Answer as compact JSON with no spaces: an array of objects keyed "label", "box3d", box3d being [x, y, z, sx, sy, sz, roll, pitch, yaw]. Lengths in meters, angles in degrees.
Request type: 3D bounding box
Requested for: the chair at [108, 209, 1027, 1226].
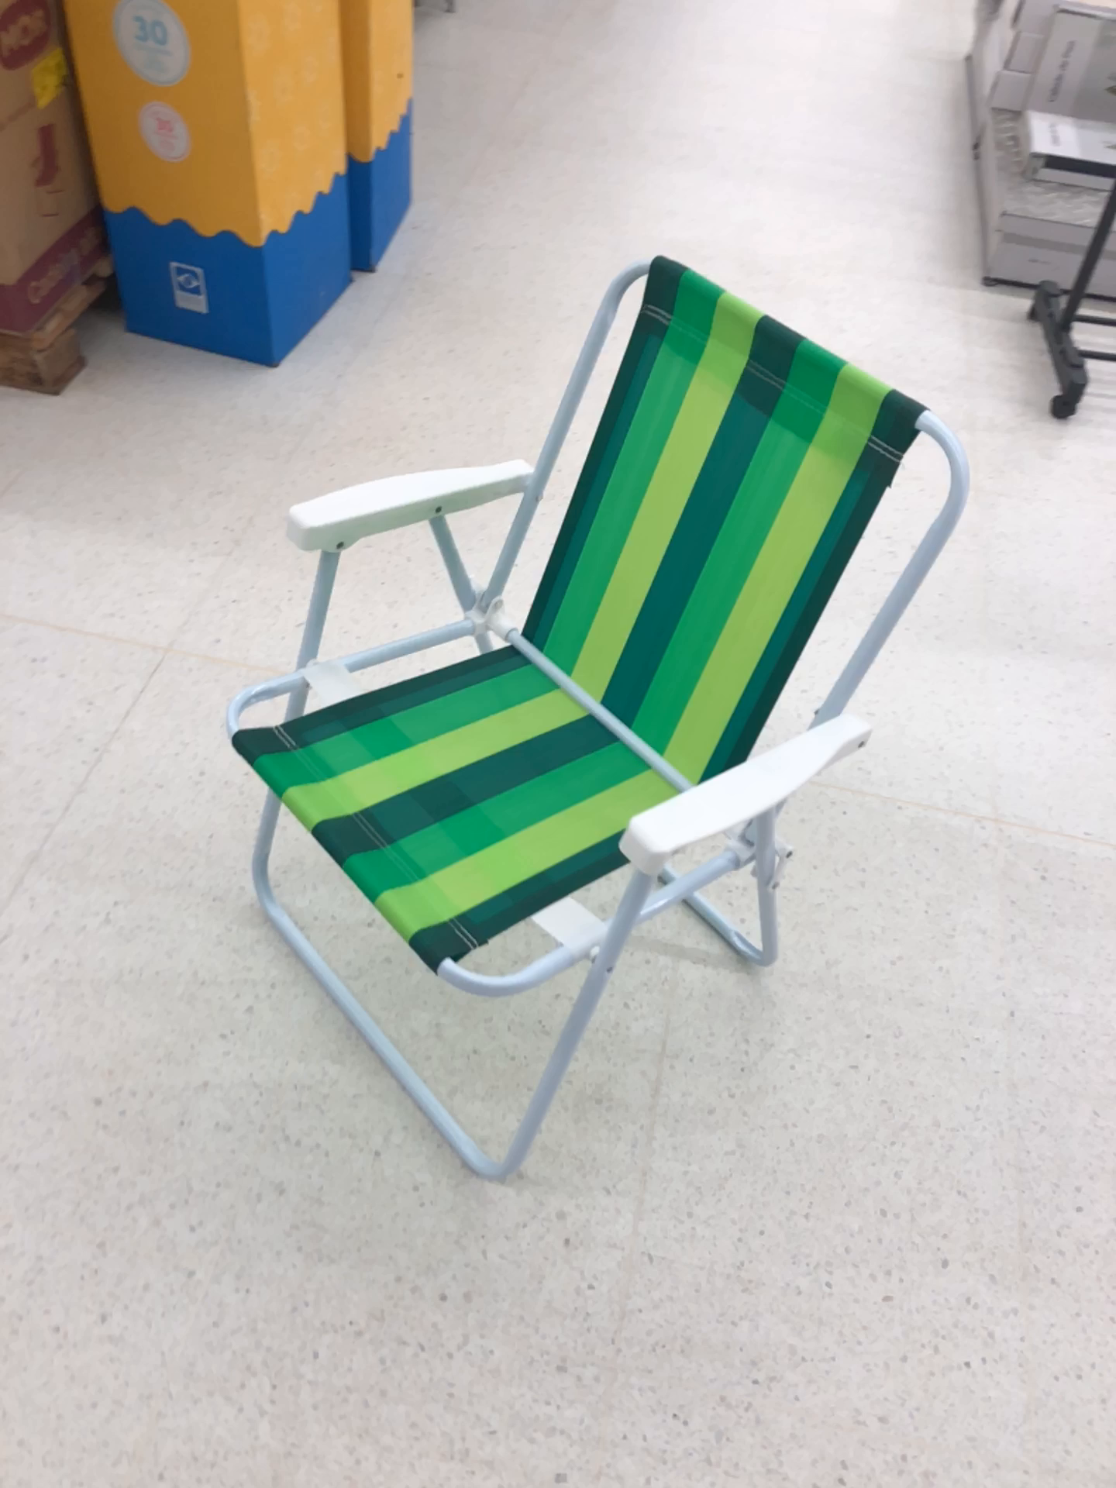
[{"label":"chair","box3d":[-0.022,-0.025,1.215,0.522,0.715,0.512,-29,56,-29]}]
